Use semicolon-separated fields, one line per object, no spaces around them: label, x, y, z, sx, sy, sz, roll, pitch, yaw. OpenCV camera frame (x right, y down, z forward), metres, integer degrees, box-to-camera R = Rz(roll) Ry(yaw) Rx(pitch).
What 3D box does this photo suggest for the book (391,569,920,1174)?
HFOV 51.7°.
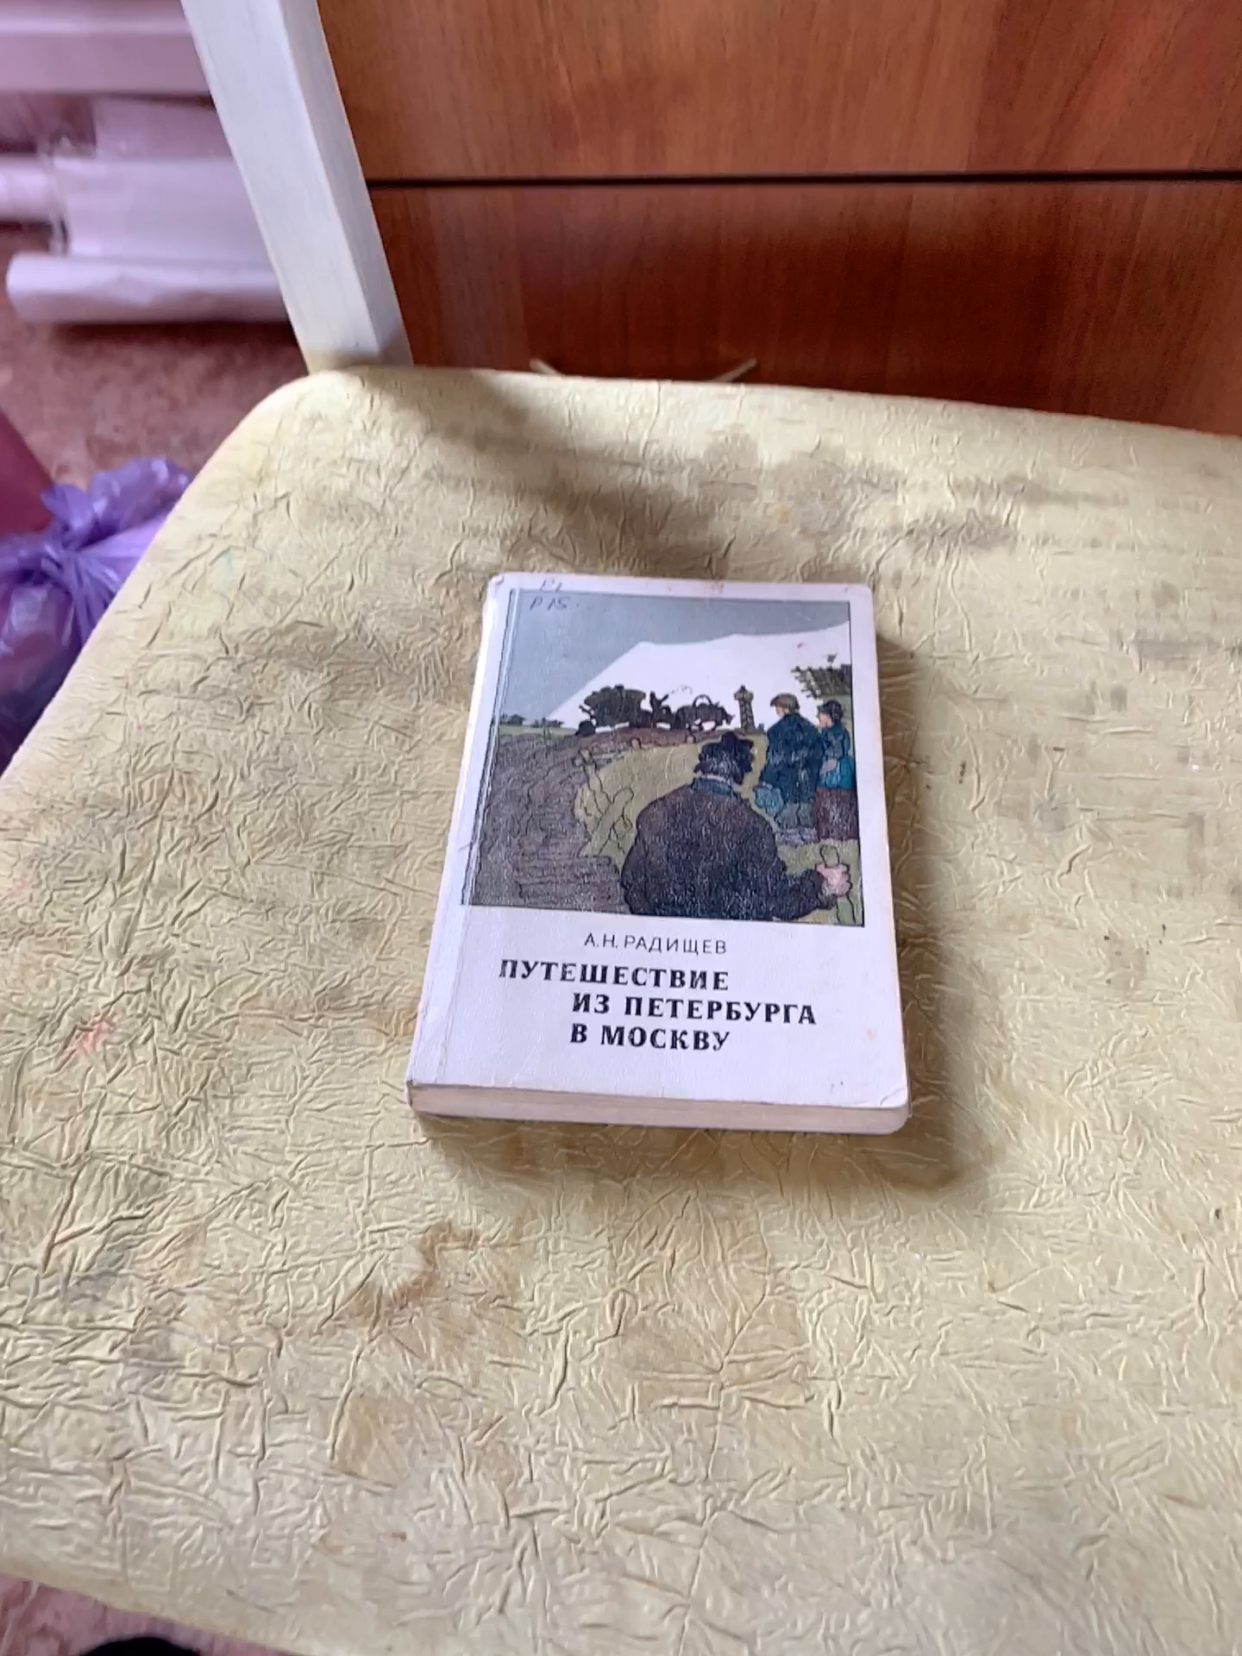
book;0.012;0.001;0.323;0.111;0.020;0.163;3;55;3
